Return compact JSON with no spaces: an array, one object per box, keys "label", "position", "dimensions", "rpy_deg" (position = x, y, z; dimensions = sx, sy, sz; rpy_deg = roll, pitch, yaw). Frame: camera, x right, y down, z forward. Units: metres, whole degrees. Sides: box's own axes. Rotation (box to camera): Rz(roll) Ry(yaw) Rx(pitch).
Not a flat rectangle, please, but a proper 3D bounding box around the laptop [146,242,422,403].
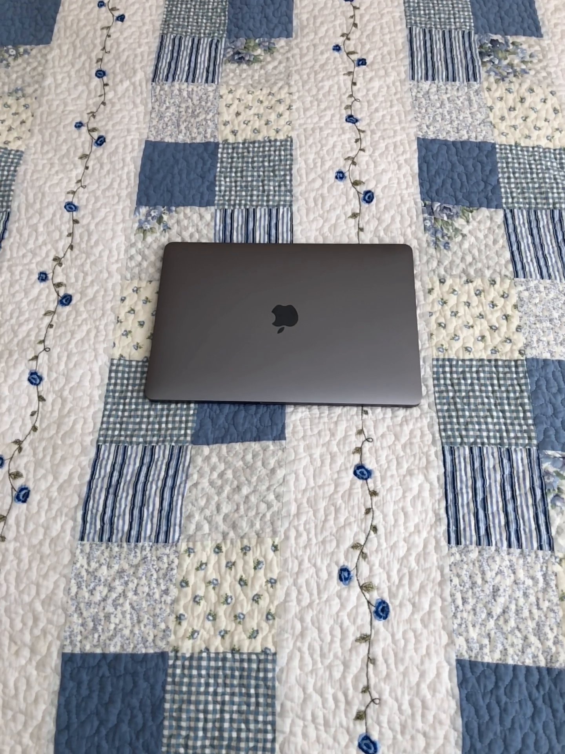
[{"label":"laptop","position":[0.004,-0.067,0.701],"dimensions":[0.290,0.005,0.202],"rpy_deg":[1,64,2]}]
